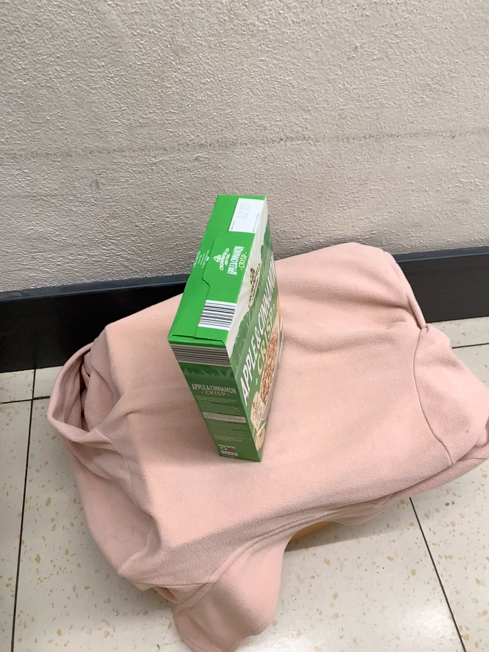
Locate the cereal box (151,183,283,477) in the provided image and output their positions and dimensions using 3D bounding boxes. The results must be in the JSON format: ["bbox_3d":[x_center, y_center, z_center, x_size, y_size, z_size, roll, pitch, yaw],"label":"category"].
[{"bbox_3d":[-0.009,0.017,0.530,0.060,0.258,0.191,6,54,12],"label":"cereal box"}]
